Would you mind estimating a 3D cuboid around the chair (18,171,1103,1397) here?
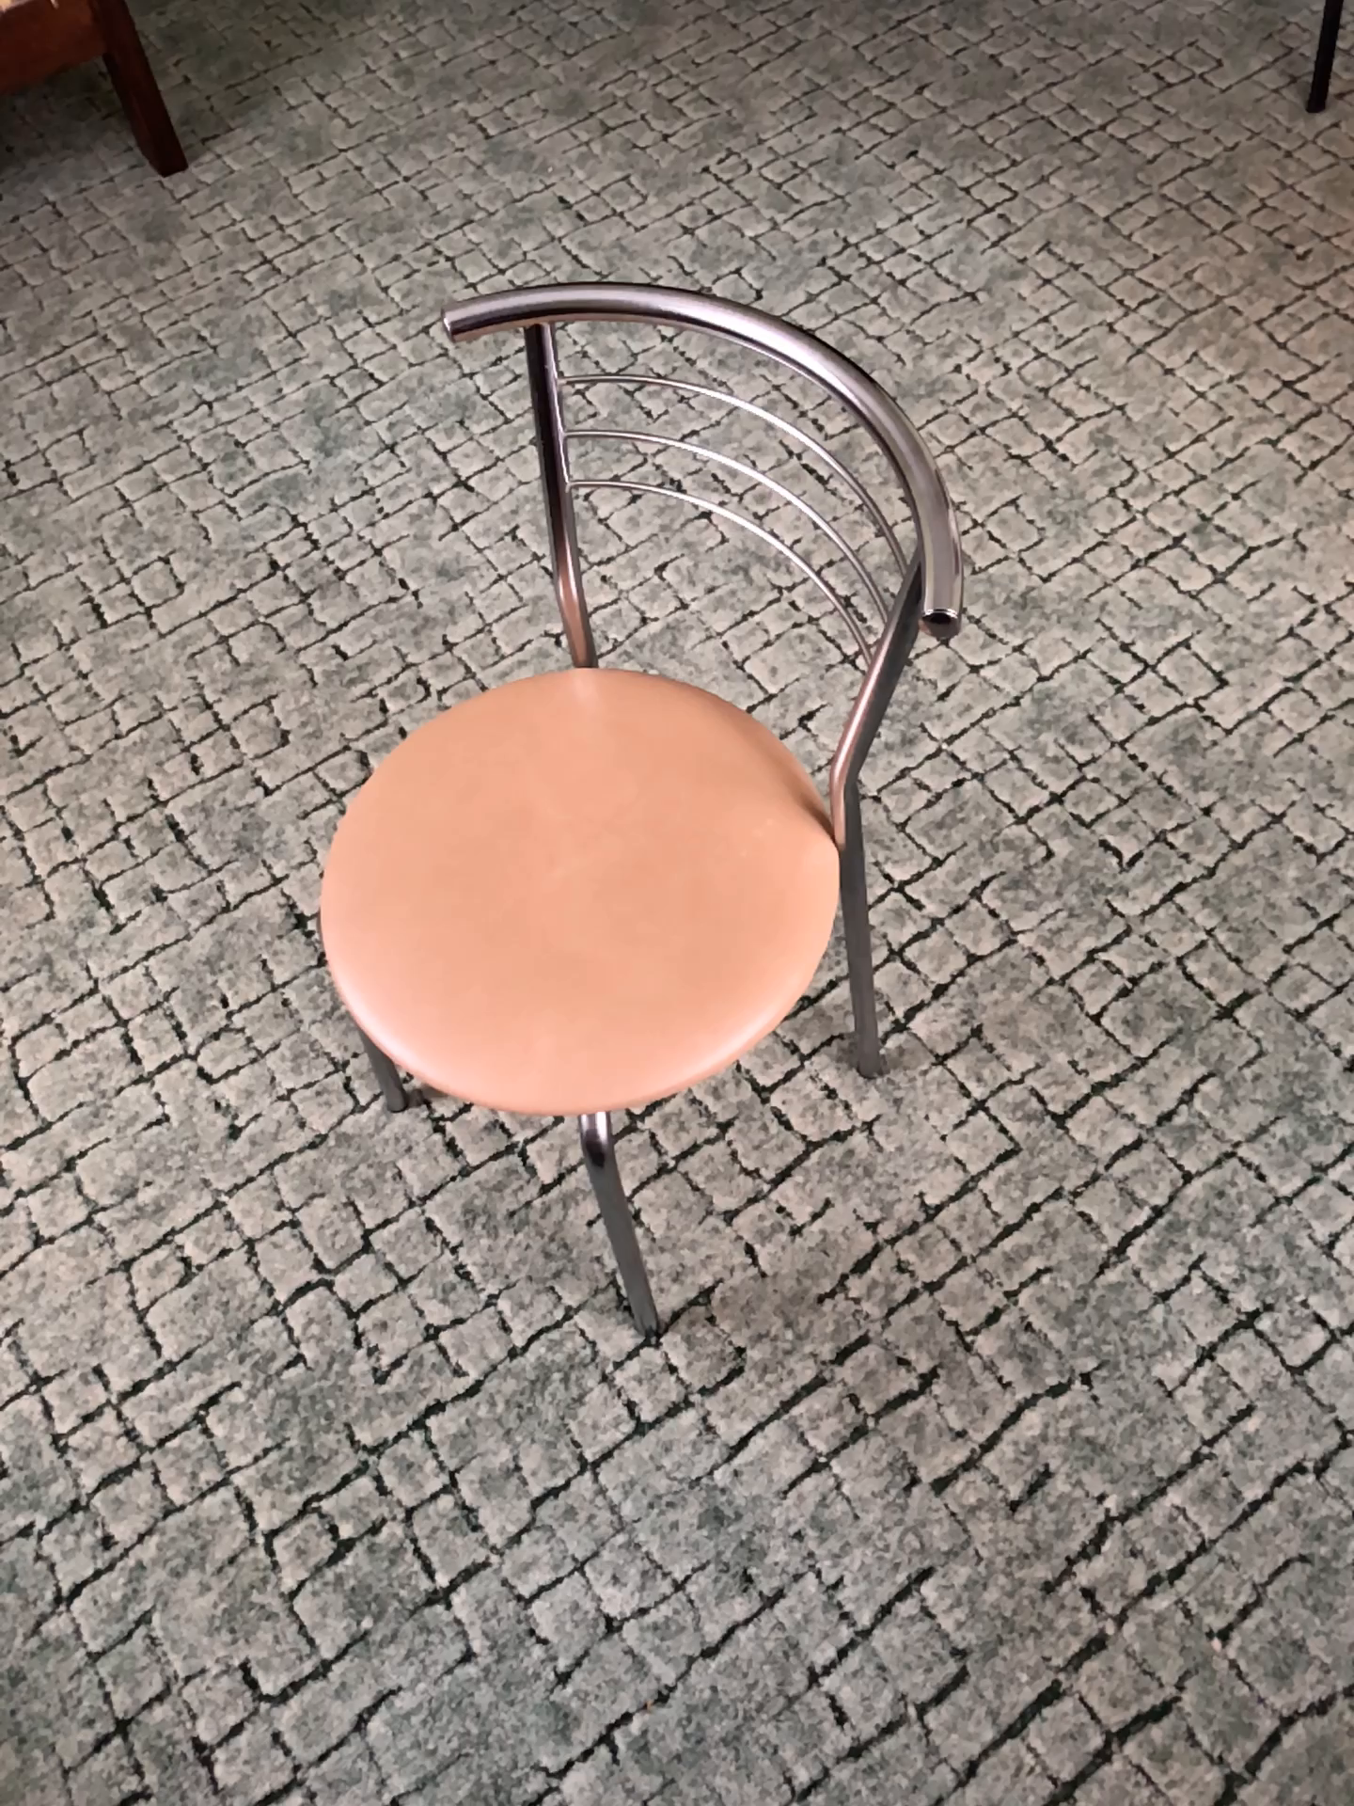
[{"bbox_3d":[-0.045,-0.026,1.200,0.444,0.804,0.451,37,67,24],"label":"chair"}]
